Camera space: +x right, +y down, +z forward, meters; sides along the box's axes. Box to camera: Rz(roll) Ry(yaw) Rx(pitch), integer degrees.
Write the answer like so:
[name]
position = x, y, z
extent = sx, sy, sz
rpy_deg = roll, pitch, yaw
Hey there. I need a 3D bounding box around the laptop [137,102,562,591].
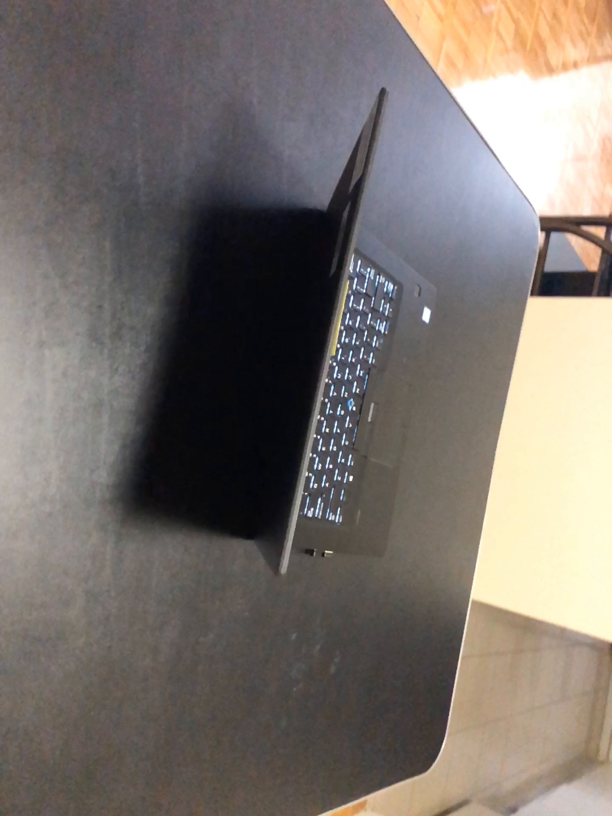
[laptop]
position = 0.076, -0.016, 0.616
extent = 0.369, 0.140, 0.319
rpy_deg = 21, 80, -49
